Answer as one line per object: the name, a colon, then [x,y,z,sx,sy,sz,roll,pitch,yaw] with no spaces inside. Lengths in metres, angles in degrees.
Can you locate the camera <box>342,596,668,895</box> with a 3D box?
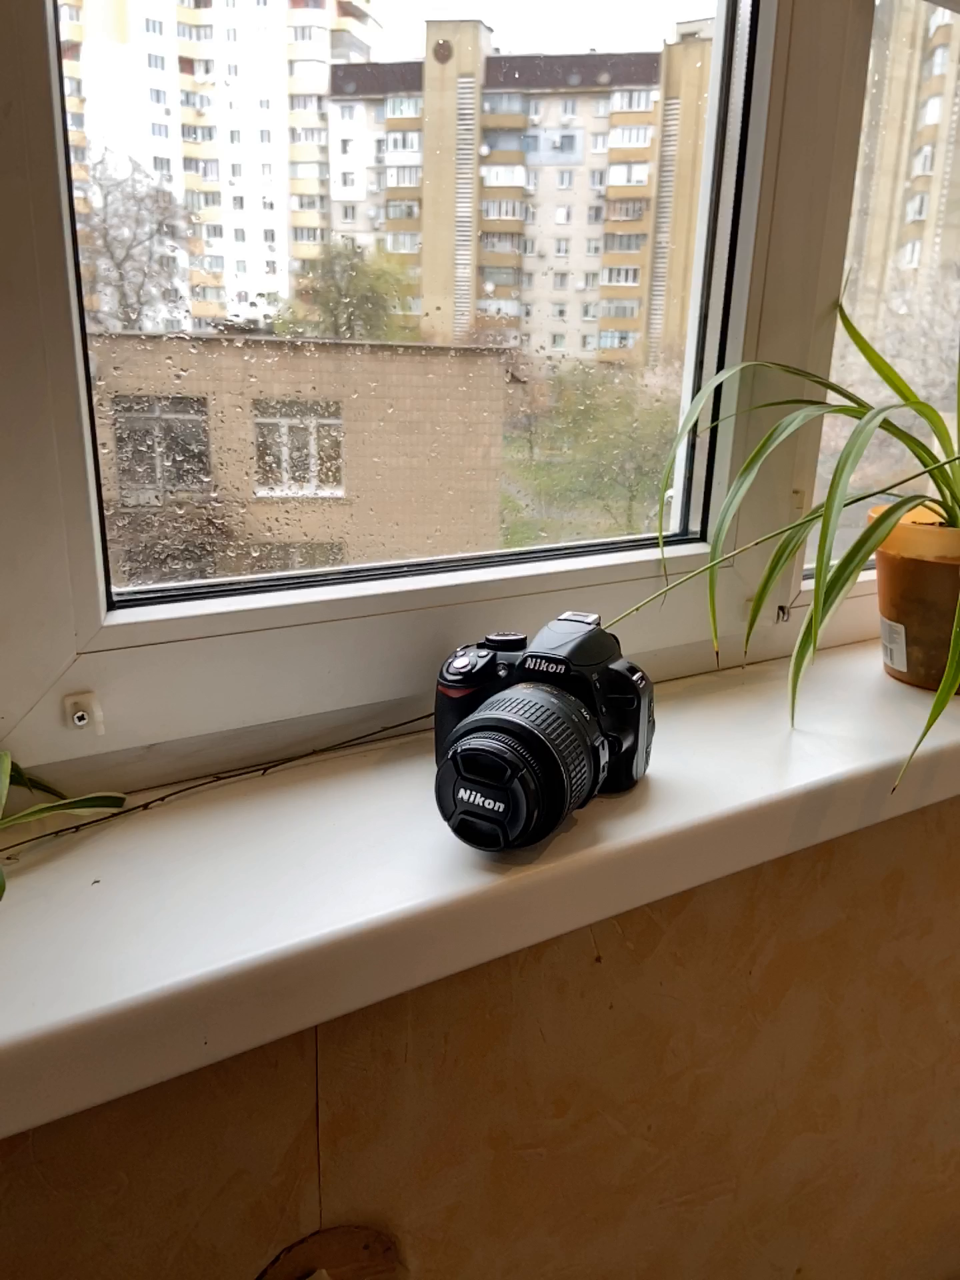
camera: [0.020,0.046,0.539,0.121,0.092,0.159,9,18,23]
